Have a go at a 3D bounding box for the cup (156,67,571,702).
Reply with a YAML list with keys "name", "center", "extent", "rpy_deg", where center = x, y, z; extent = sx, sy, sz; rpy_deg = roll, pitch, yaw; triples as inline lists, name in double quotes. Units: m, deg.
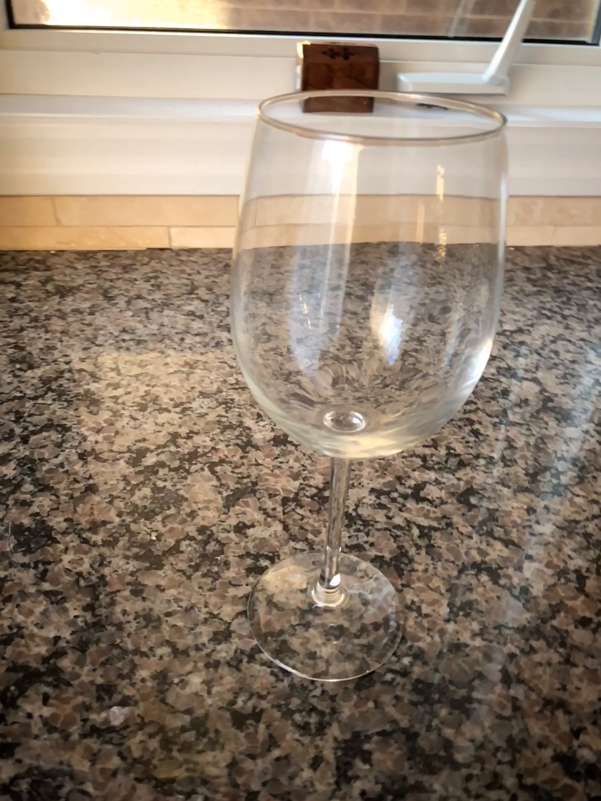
- name: "cup"
  center: [0.008, 0.003, 0.252]
  extent: [0.095, 0.217, 0.098]
  rpy_deg: [2, 33, -1]
